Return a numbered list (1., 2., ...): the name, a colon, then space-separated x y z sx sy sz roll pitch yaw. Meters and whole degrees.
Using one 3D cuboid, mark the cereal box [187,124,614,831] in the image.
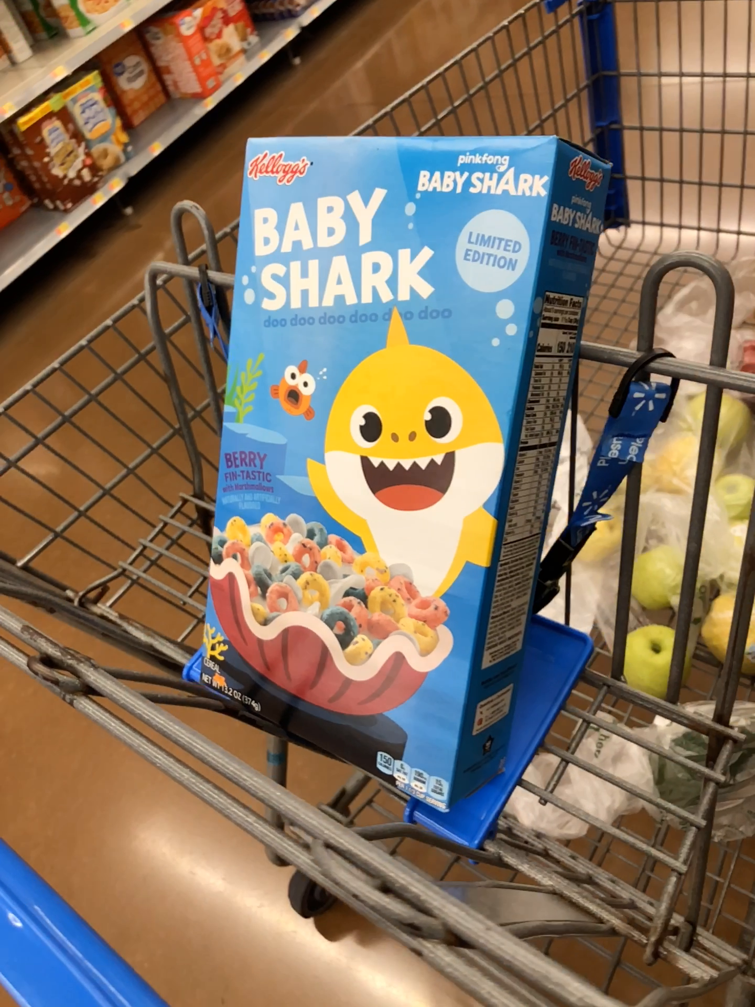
1. cereal box: -0.005 -0.022 0.470 0.190 0.340 0.070 18 18 34
